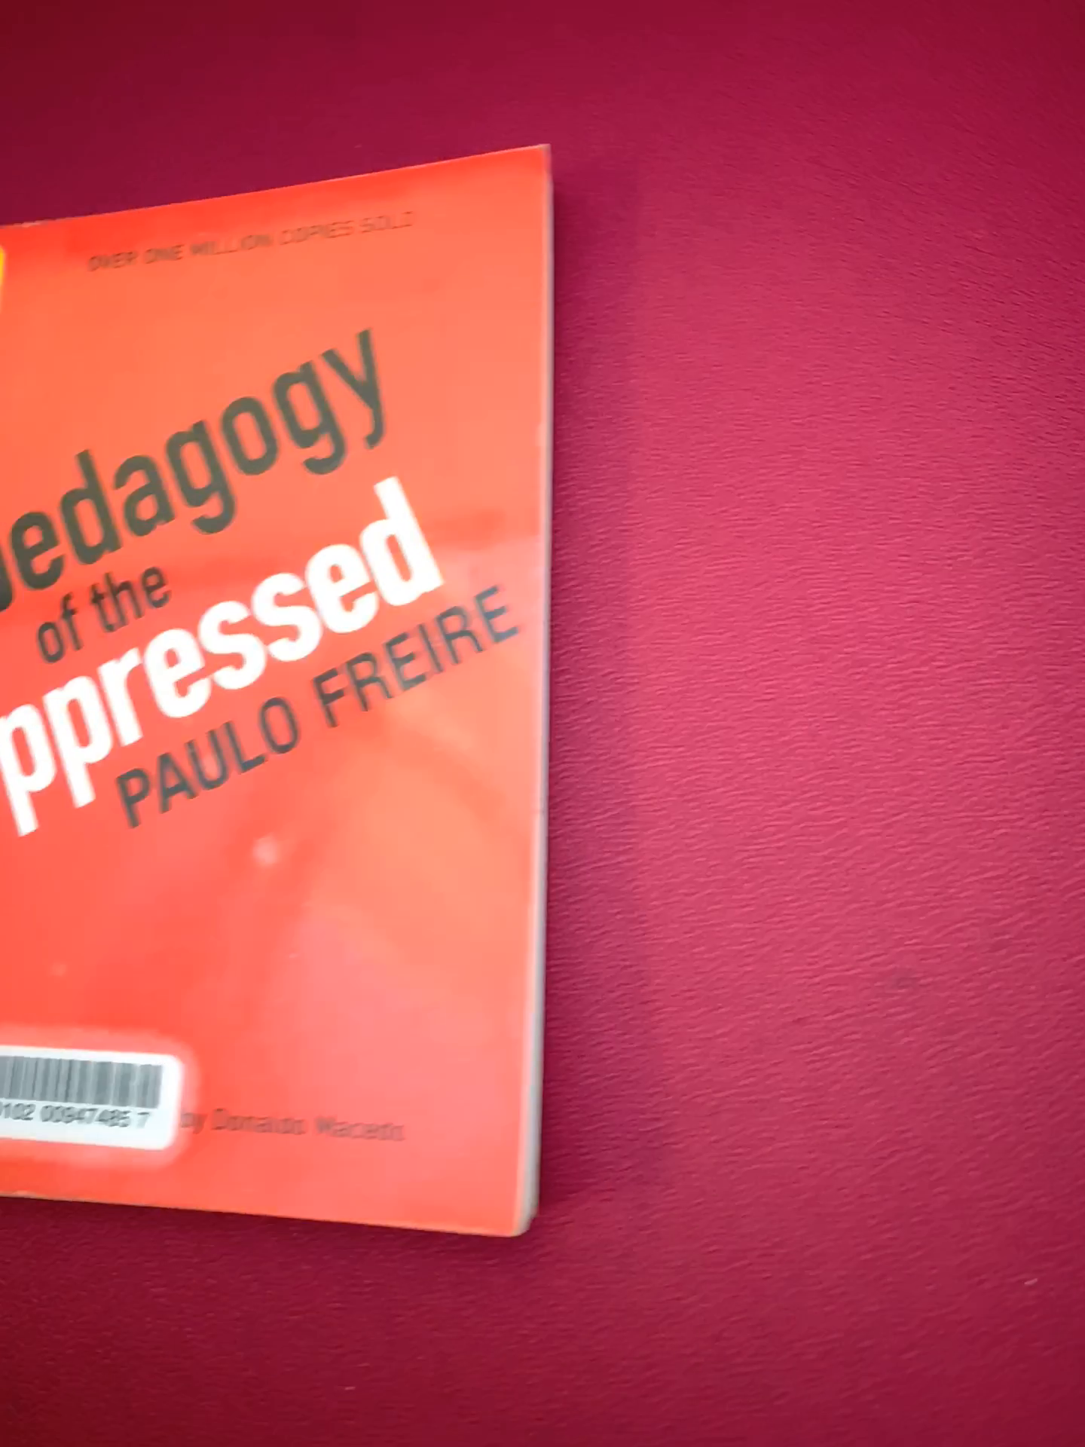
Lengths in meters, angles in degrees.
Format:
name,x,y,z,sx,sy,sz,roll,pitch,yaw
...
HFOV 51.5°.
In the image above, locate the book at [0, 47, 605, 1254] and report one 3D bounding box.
name,x,y,z,sx,sy,sz,roll,pitch,yaw
book,-0.073,-0.022,0.248,0.170,0.030,0.240,-2,76,13
